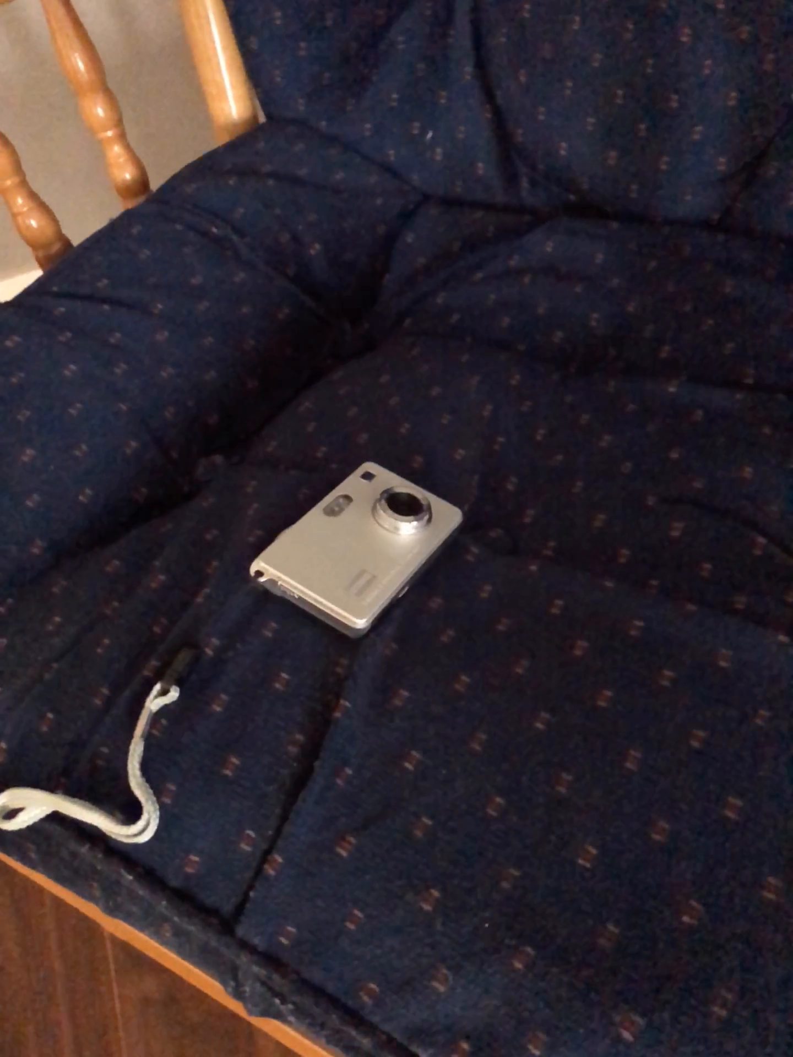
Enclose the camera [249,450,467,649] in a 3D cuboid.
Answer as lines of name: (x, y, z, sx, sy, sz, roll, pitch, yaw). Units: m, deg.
camera: (-0.016, 0.006, 0.388, 0.058, 0.018, 0.085, 28, 49, 18)
